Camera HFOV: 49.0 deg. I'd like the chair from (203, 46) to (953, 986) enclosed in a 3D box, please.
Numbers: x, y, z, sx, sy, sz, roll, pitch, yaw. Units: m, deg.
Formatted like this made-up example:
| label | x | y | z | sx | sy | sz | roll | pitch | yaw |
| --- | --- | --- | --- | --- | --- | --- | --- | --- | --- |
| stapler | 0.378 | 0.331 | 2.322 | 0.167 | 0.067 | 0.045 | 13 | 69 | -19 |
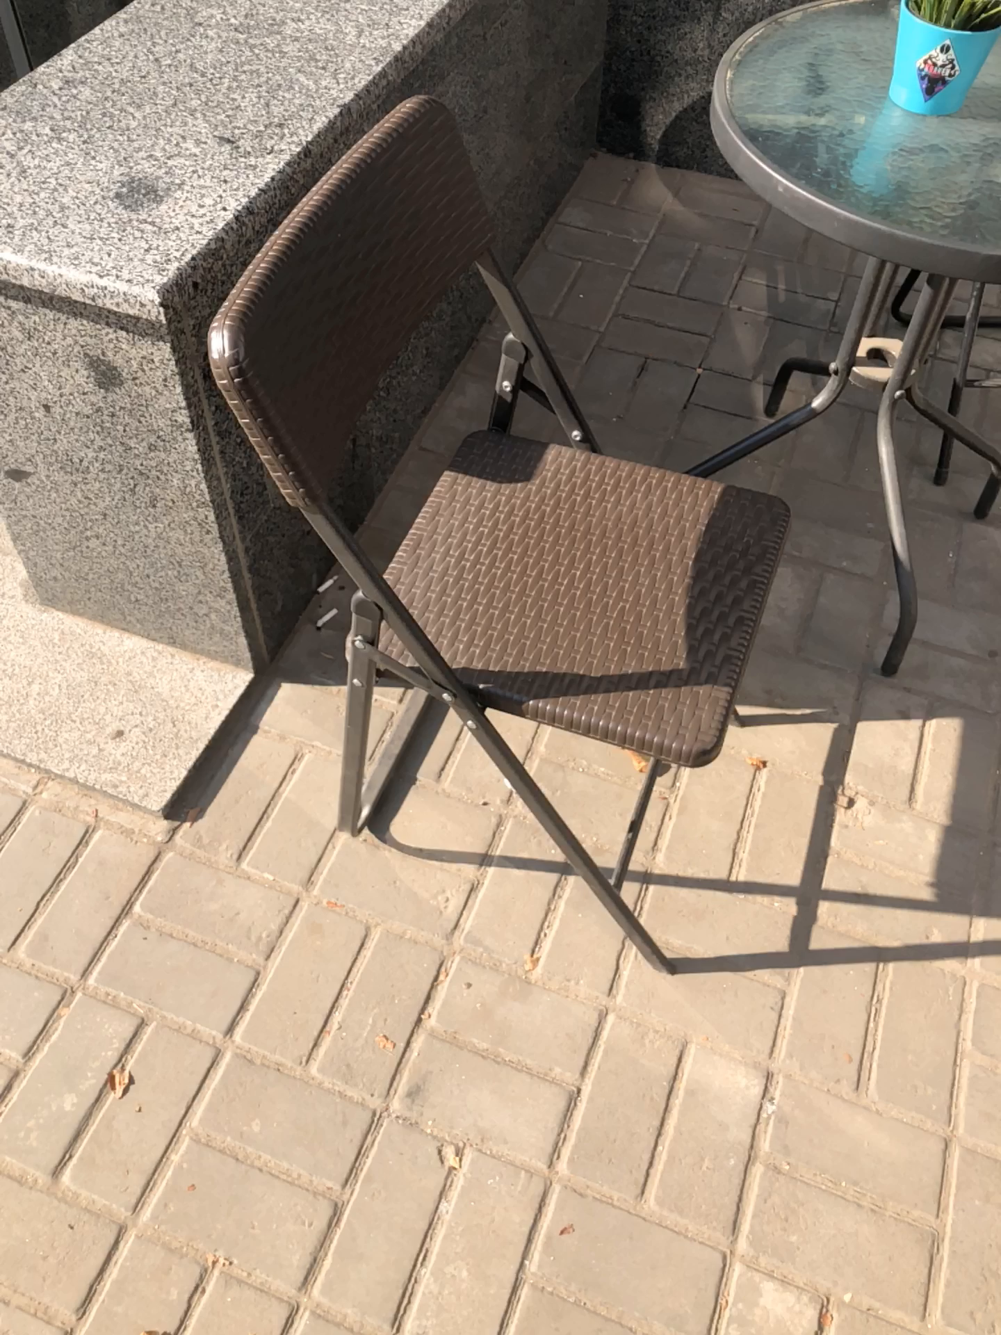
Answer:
| label | x | y | z | sx | sy | sz | roll | pitch | yaw |
| --- | --- | --- | --- | --- | --- | --- | --- | --- | --- |
| chair | 0.079 | -0.097 | 1.131 | 0.460 | 0.787 | 0.431 | 15 | 53 | 11 |
